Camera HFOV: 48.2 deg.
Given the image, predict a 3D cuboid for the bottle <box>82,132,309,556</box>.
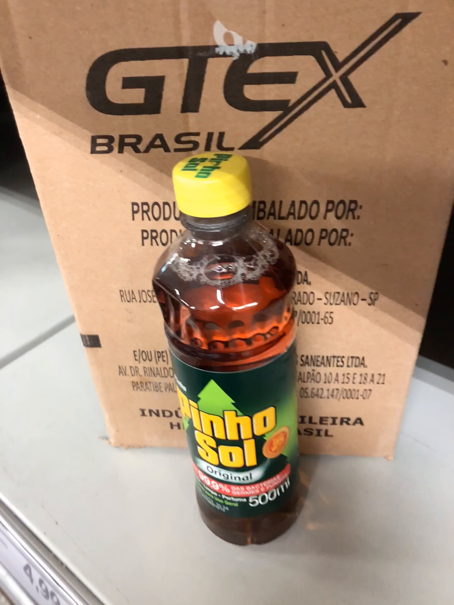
[{"bbox_3d":[0.000,0.036,0.249,0.070,0.218,0.060,3,38,11],"label":"bottle"}]
